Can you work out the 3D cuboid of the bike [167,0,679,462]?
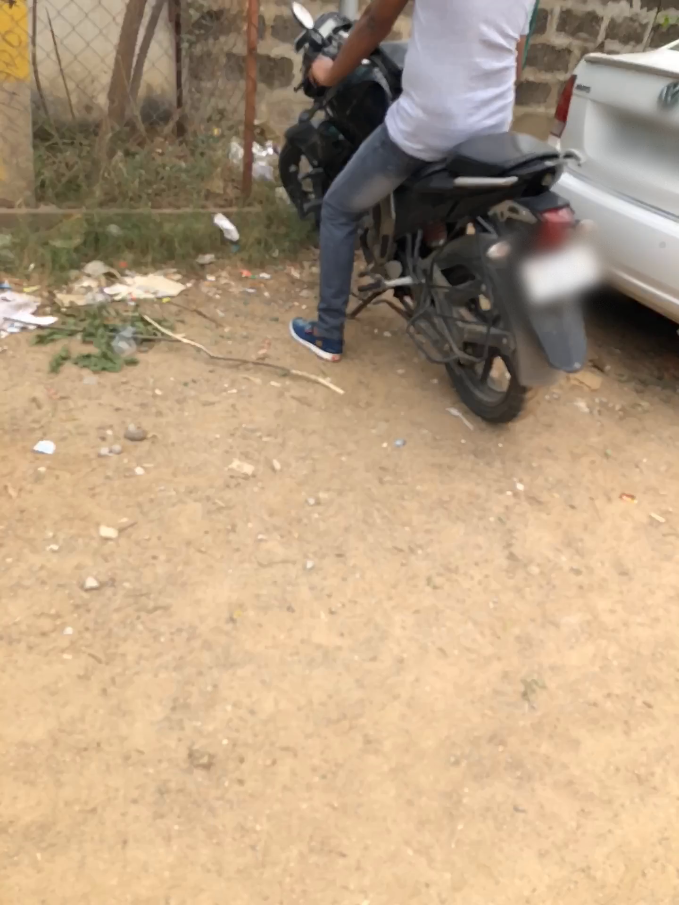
[{"bbox_3d":[0.038,-0.989,2.218,0.529,1.094,1.623,-13,44,-30],"label":"bike"}]
